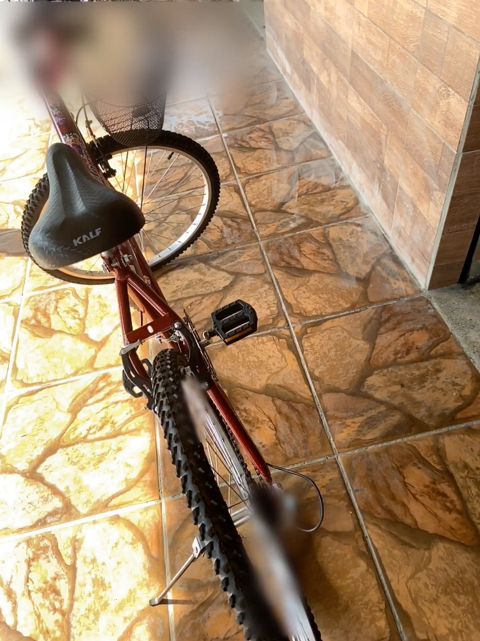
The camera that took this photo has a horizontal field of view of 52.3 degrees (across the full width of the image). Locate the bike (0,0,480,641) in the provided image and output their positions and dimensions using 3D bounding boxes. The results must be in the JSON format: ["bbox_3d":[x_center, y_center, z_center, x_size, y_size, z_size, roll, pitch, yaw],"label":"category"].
[{"bbox_3d":[-0.126,-0.076,0.959,0.549,1.081,1.416,-11,47,-1],"label":"bike"}]
